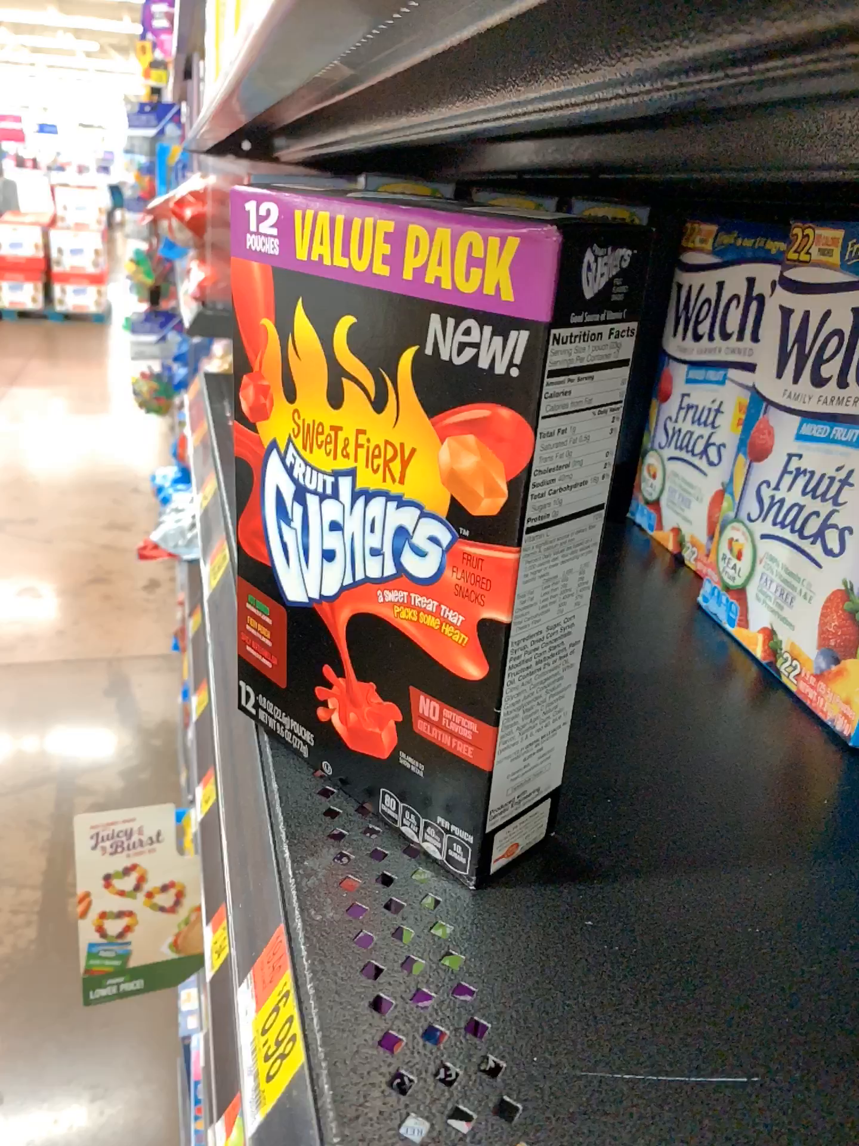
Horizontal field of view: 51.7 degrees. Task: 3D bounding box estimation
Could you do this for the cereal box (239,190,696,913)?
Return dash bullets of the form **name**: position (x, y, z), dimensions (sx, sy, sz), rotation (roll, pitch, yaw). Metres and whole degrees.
- **cereal box**: position (-0.003, -0.015, 0.323), dimensions (0.050, 0.219, 0.150), rotation (-19, 33, -41)
